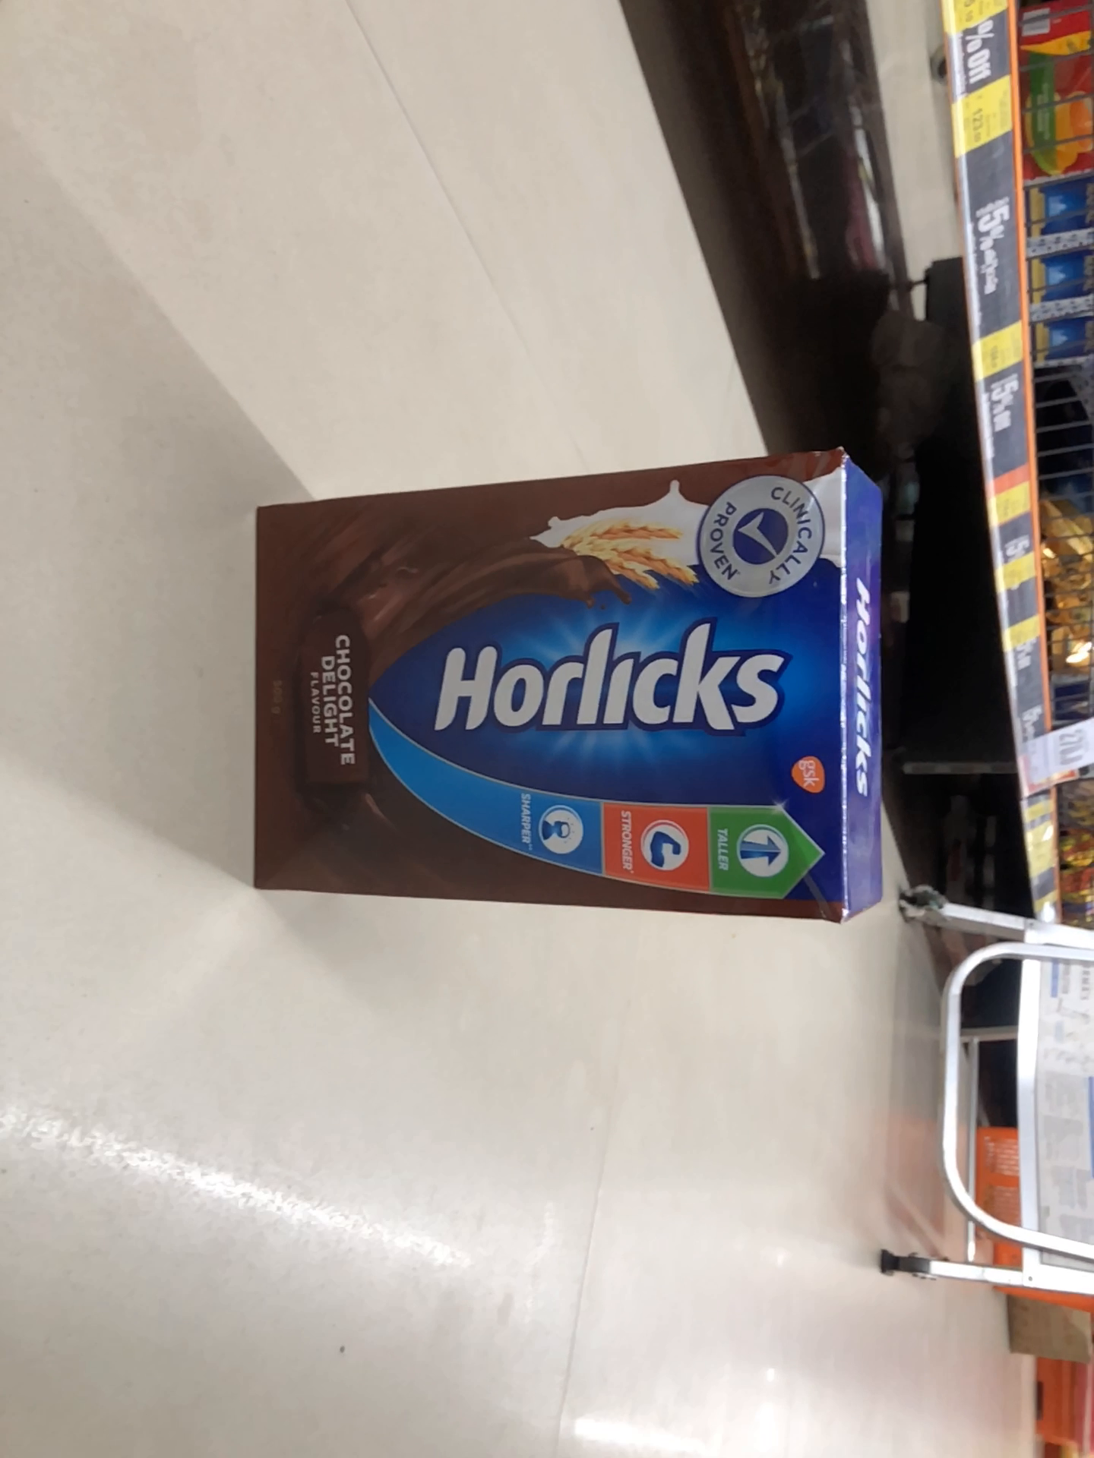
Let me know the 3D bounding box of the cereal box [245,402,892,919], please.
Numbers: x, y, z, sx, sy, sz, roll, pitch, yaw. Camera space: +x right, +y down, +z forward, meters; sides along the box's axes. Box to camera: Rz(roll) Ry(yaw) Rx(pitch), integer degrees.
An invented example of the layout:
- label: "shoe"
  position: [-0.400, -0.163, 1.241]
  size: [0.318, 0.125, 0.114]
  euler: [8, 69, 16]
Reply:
- label: "cereal box"
  position: [0.004, -0.016, 0.392]
  size: [0.060, 0.199, 0.140]
  euler: [8, 82, -67]
